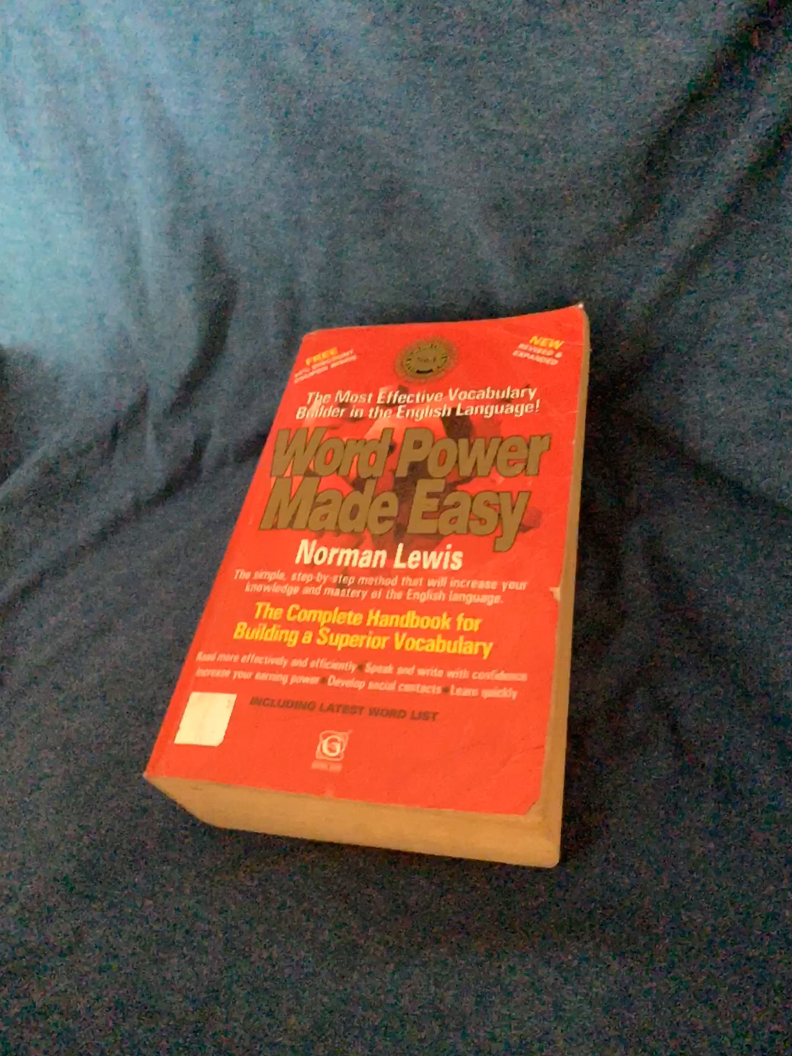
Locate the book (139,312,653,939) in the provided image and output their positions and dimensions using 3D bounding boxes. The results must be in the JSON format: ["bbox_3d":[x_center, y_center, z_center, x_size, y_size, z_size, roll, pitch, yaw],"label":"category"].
[{"bbox_3d":[0.015,0.015,0.271,0.120,0.050,0.191,5,58,17],"label":"book"}]
